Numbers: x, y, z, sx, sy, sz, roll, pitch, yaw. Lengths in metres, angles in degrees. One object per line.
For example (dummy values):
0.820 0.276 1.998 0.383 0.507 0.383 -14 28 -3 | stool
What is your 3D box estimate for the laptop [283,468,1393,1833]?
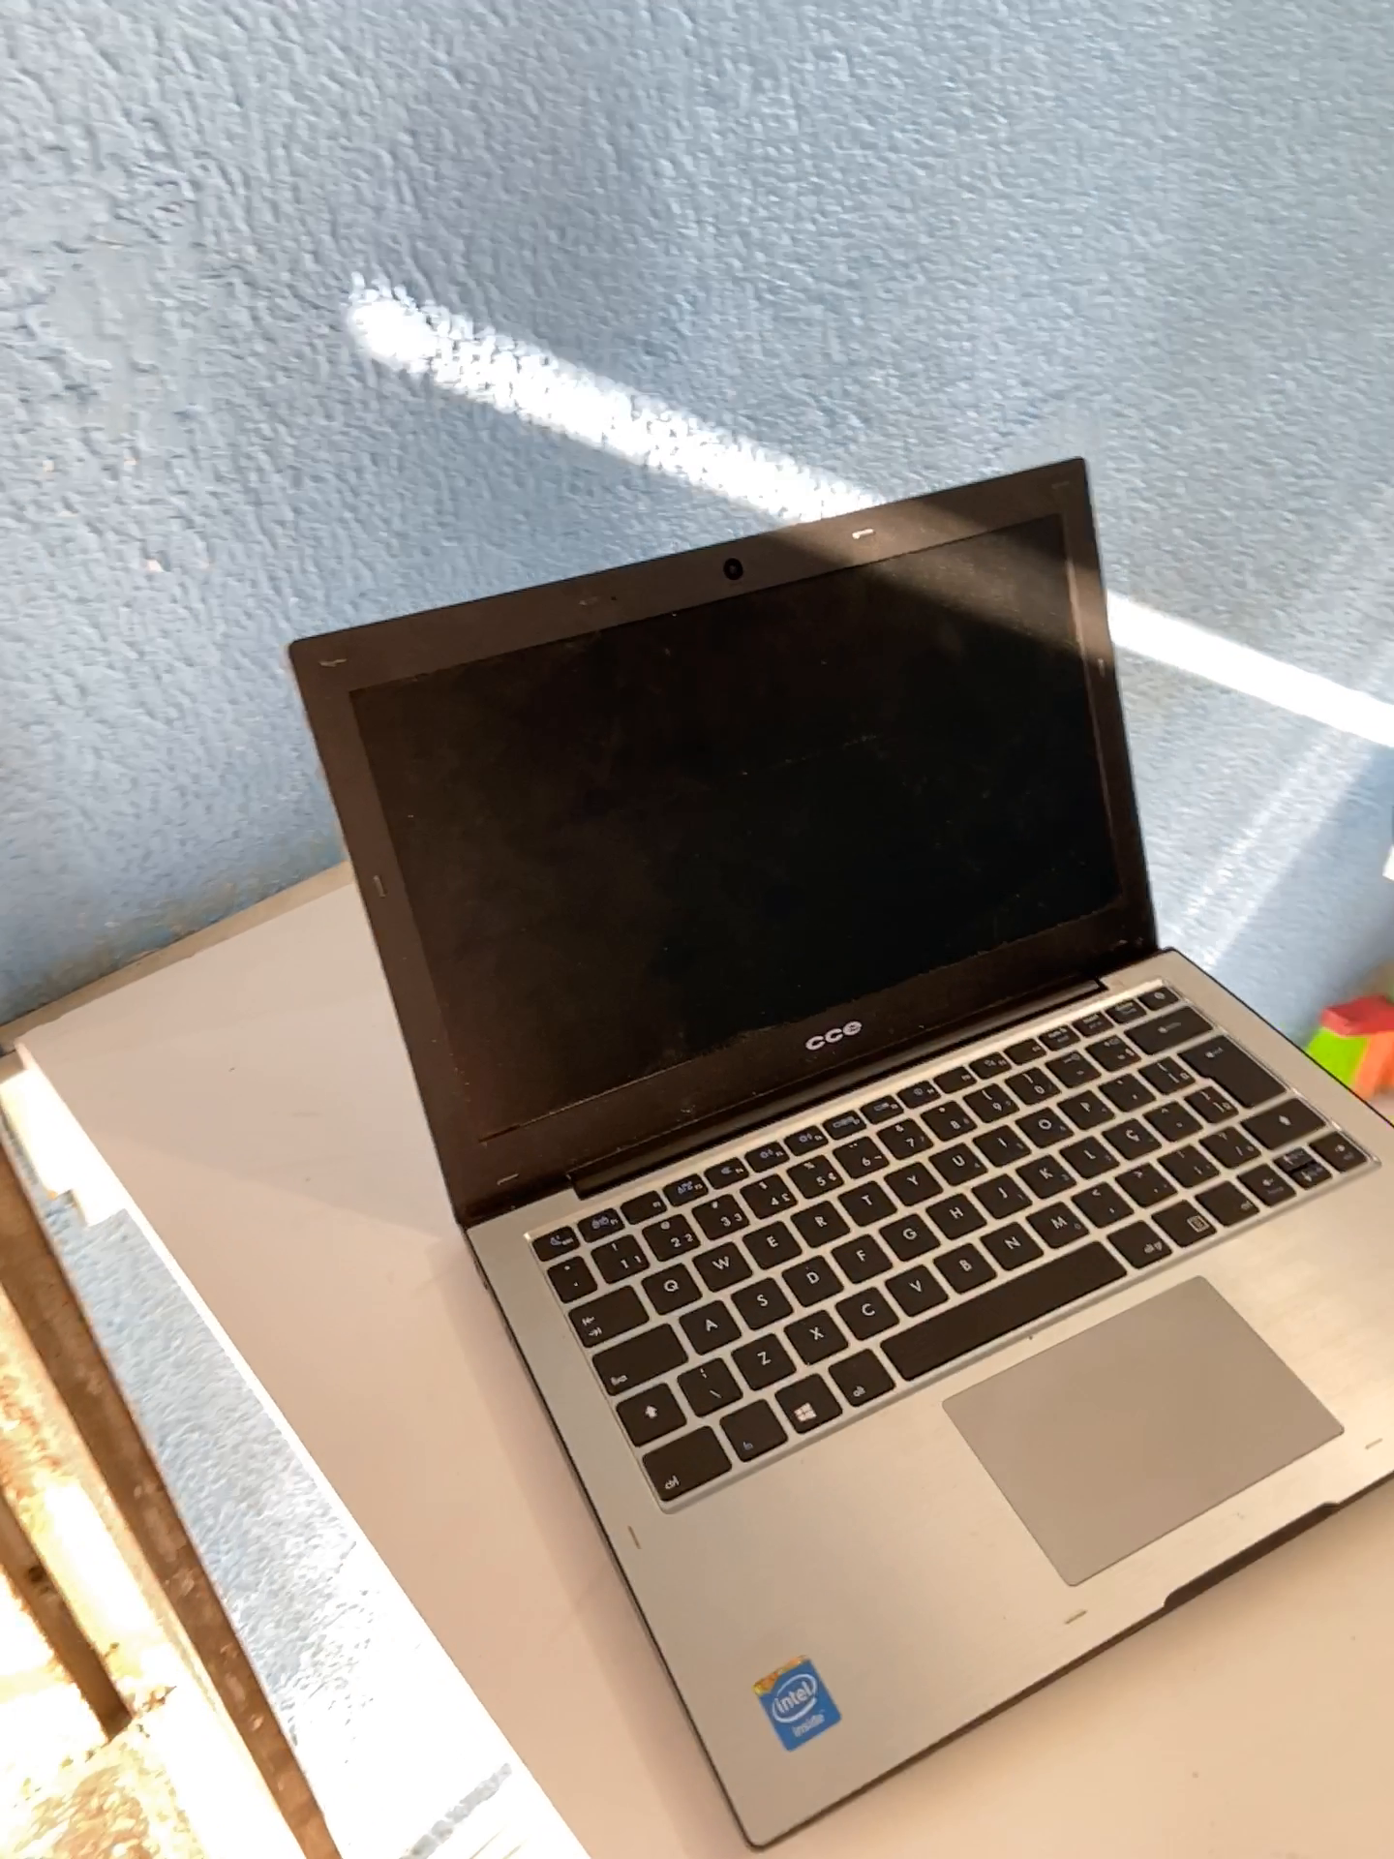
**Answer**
0.081 0.019 0.453 0.313 0.181 0.304 -18 41 -20 | laptop
